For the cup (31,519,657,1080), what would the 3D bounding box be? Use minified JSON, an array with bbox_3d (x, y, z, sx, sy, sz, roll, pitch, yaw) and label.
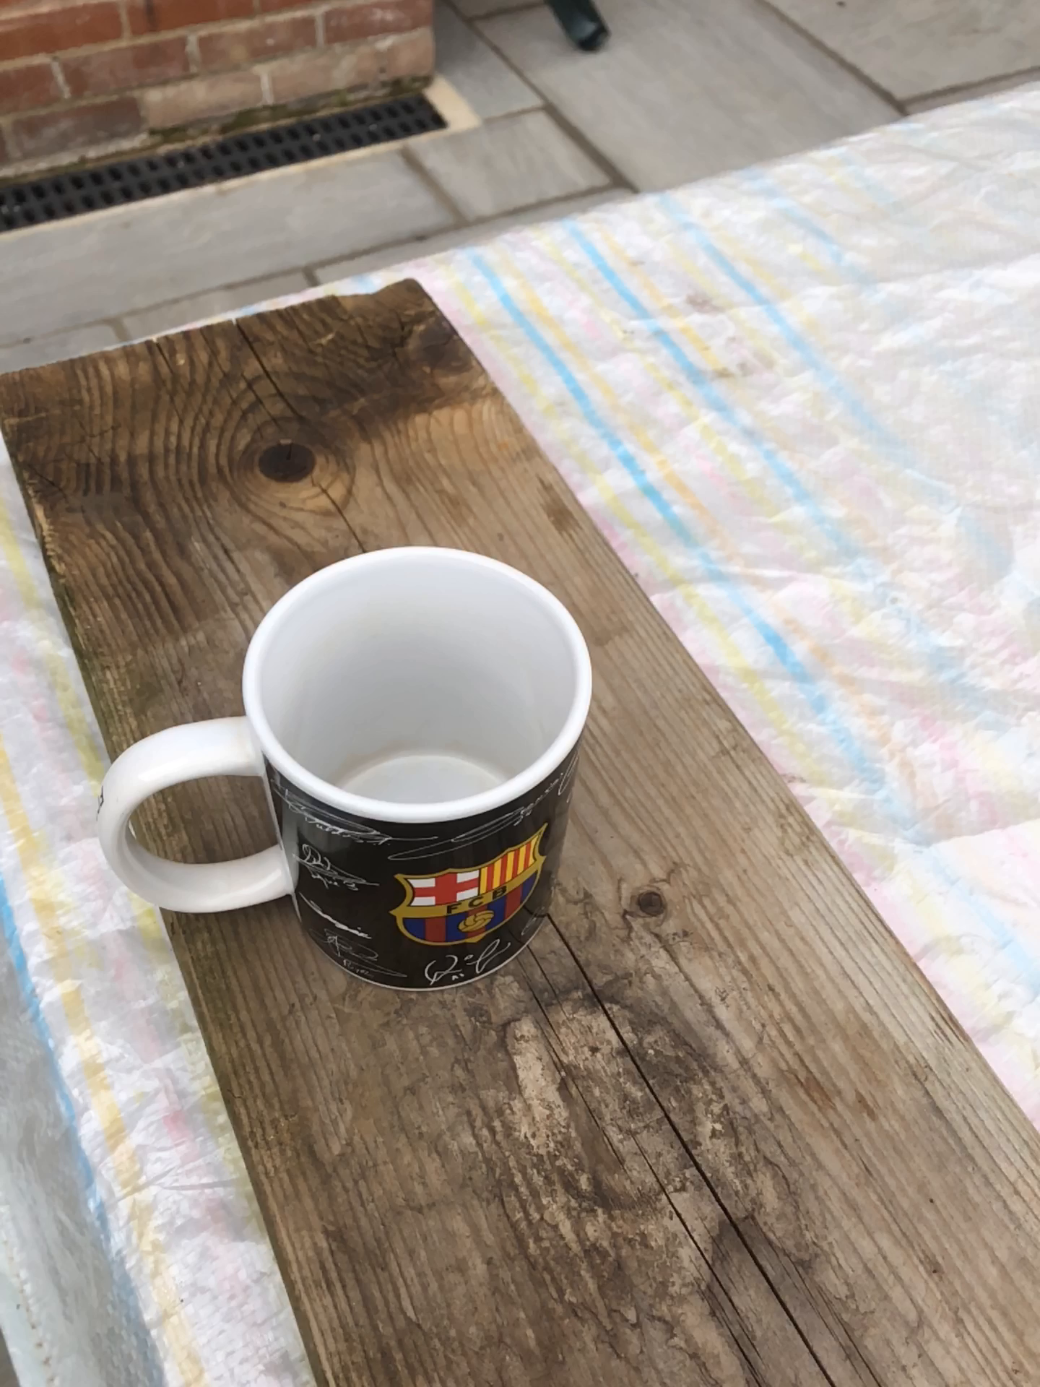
[{"bbox_3d":[-0.047,0.028,0.307,0.130,0.089,0.090,-12,57,-12],"label":"cup"}]
